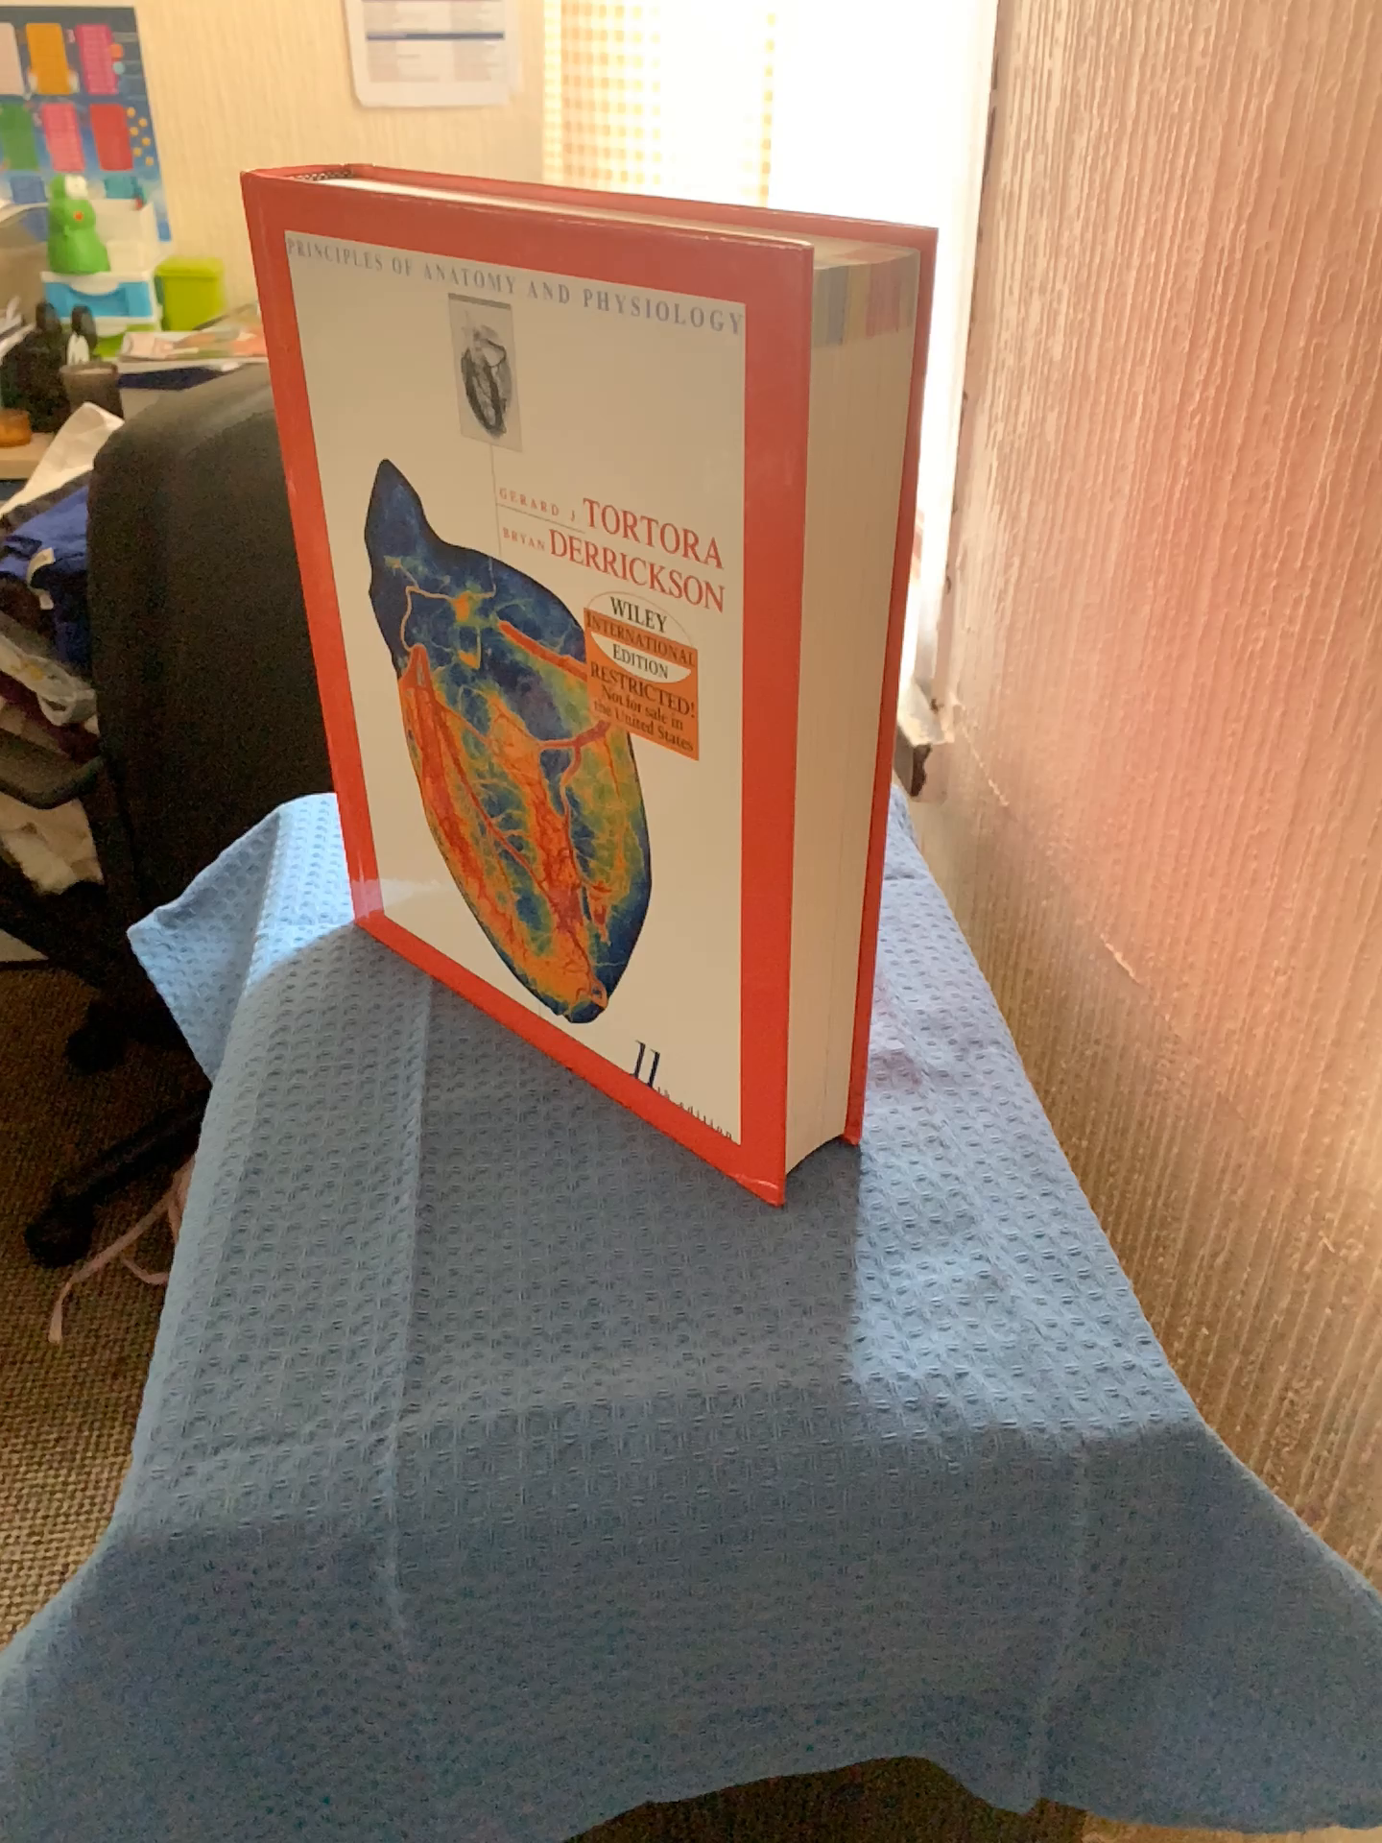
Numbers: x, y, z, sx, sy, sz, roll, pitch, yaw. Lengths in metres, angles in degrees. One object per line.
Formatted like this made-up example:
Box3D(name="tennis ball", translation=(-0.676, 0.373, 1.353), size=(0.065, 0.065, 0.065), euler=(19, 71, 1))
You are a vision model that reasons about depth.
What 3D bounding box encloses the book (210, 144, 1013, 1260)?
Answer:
Box3D(name="book", translation=(-0.041, -0.081, 0.458), size=(0.060, 0.287, 0.261), euler=(-26, 40, -37))
